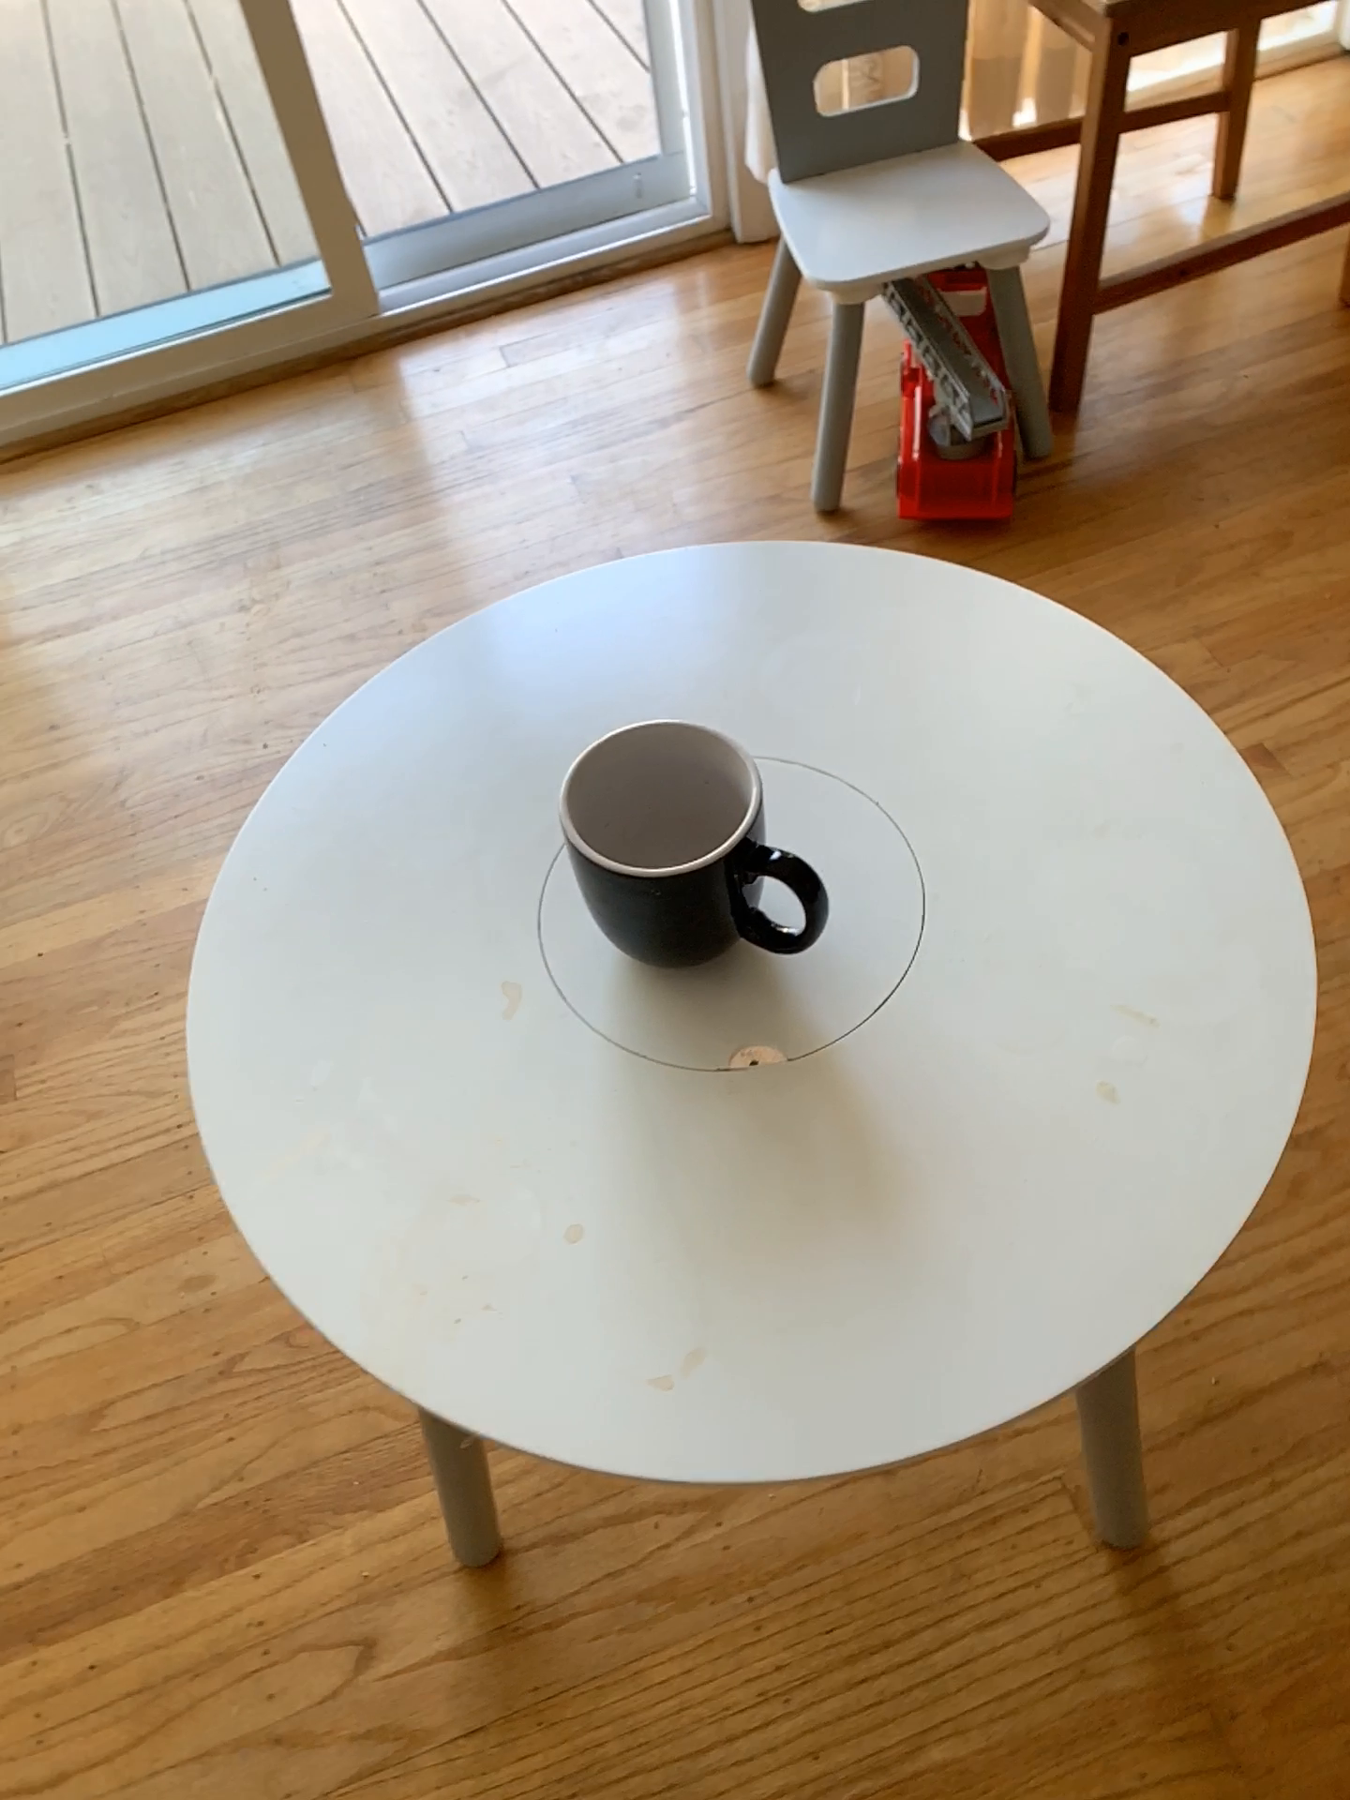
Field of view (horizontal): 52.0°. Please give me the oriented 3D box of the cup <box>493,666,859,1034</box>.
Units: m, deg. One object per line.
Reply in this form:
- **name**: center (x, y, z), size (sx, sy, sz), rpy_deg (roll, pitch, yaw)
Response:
- **cup**: center (0.004, -0.027, 0.684), size (0.140, 0.090, 0.100), rpy_deg (30, 63, 26)
